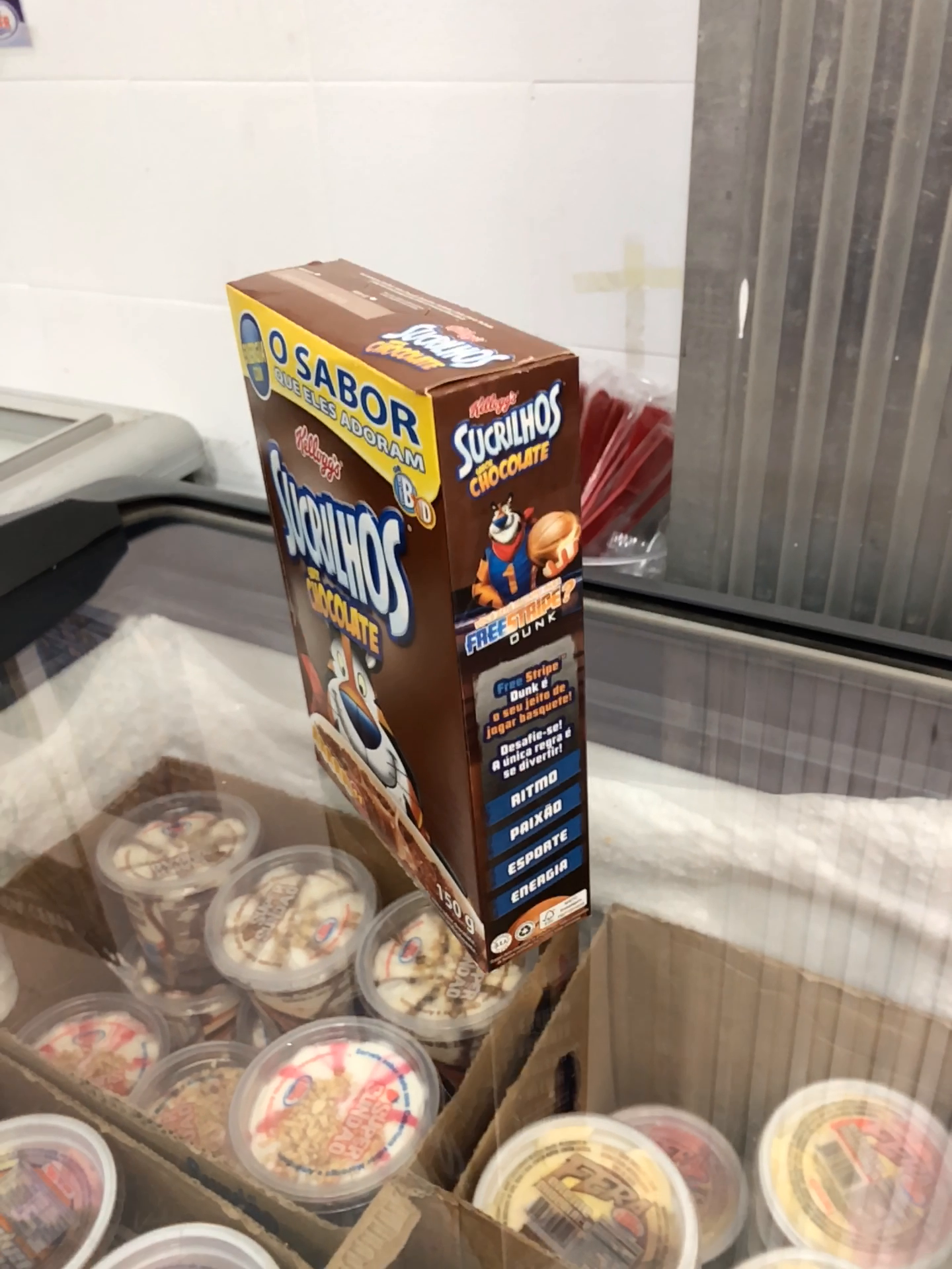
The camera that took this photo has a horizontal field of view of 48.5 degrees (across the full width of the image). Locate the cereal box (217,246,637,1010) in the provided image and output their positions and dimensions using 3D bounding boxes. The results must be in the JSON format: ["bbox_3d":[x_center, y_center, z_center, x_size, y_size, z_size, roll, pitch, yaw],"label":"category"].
[{"bbox_3d":[-0.016,-0.005,0.356,0.050,0.208,0.151,-22,37,-25],"label":"cereal box"}]
